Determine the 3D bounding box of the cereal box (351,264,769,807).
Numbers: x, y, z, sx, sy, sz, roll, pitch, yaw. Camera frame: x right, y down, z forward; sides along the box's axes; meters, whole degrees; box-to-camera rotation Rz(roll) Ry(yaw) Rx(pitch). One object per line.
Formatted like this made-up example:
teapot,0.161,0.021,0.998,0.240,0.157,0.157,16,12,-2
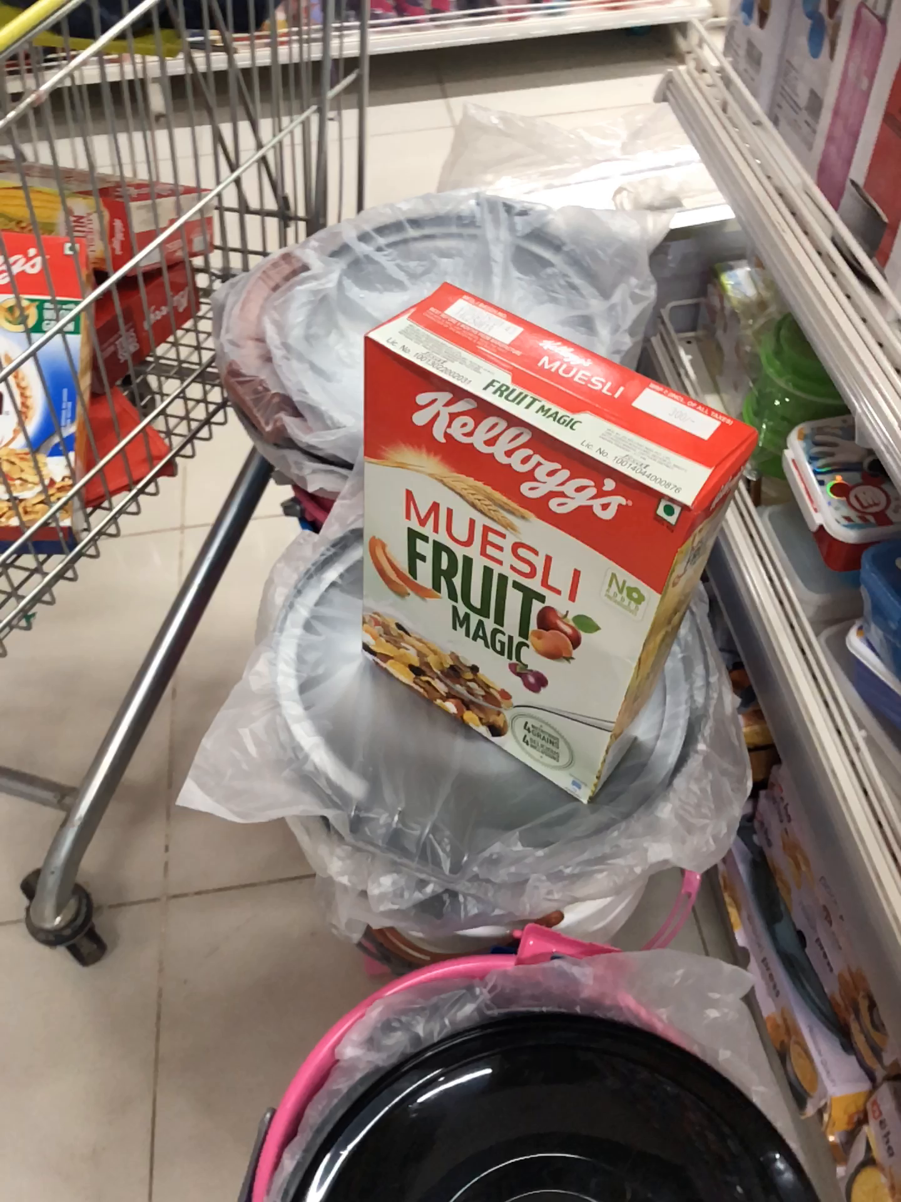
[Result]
cereal box,0.039,-0.026,0.560,0.190,0.249,0.070,32,53,22
